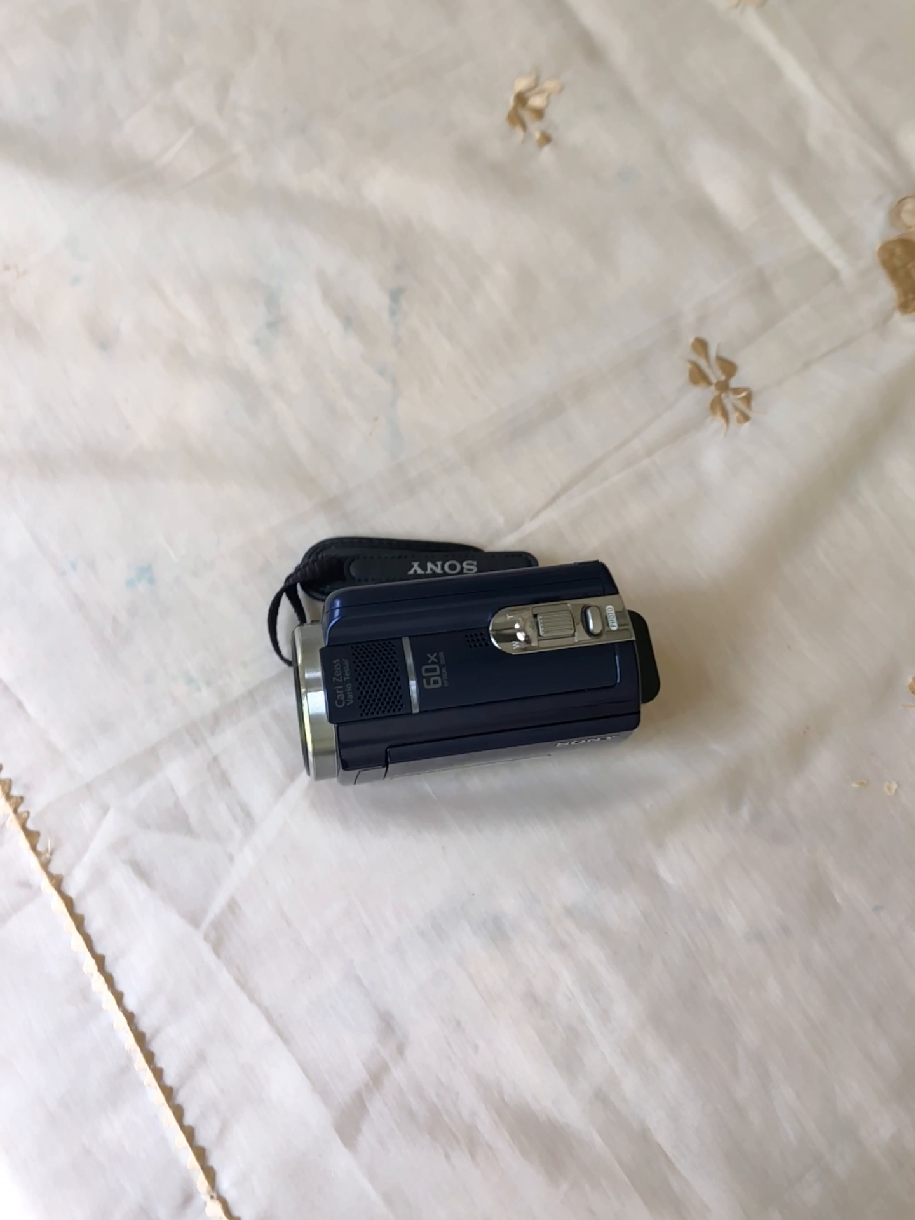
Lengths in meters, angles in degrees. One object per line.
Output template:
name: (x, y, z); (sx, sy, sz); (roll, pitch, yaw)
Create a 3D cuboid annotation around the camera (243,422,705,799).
camera: (0.000, 0.002, 0.320); (0.119, 0.070, 0.090); (-6, 74, -9)
